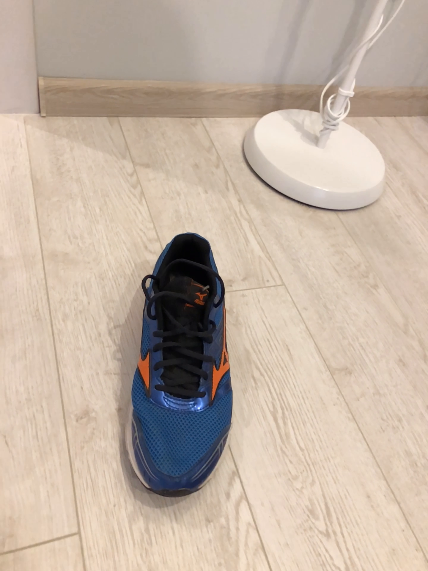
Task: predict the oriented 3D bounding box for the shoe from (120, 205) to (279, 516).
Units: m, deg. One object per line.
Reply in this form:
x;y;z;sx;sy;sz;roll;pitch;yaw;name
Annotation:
-0.024;0.065;0.501;0.116;0.119;0.302;7;48;-10;shoe
